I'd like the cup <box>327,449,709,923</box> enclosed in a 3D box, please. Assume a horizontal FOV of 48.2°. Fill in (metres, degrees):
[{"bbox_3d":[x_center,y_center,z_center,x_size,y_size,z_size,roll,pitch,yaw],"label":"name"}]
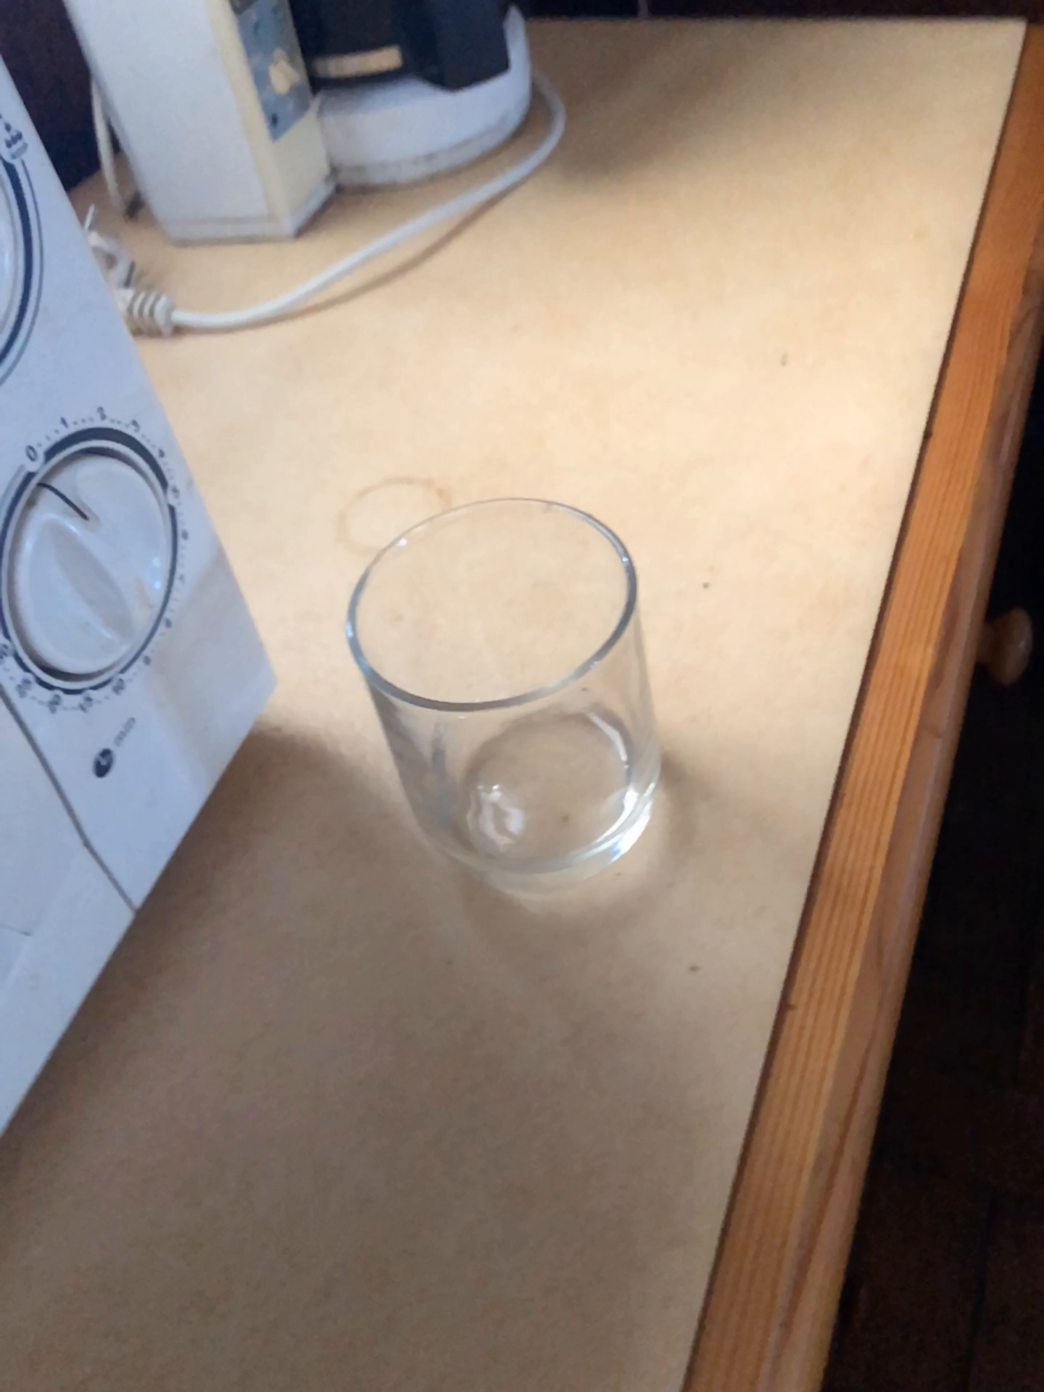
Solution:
[{"bbox_3d":[0.000,-0.002,0.275,0.070,0.070,0.070,-5,49,6],"label":"cup"}]
